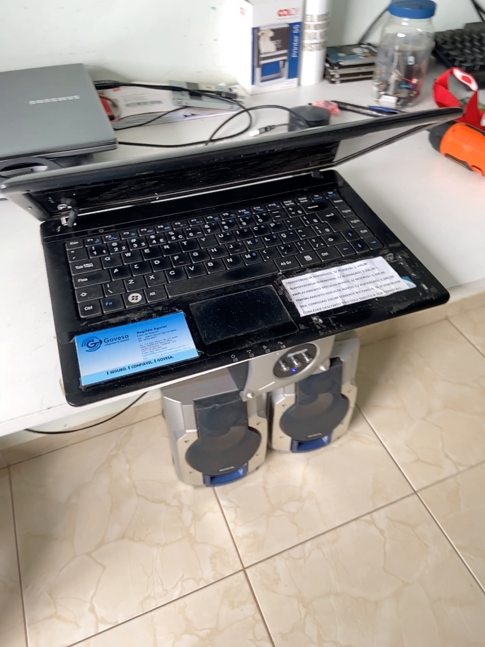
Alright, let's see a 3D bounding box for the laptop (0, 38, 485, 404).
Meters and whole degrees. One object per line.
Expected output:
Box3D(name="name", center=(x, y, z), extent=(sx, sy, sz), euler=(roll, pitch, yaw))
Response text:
Box3D(name="laptop", center=(-0.008, -0.111, 0.426), extent=(0.335, 0.144, 0.228), euler=(-15, 48, -14))
